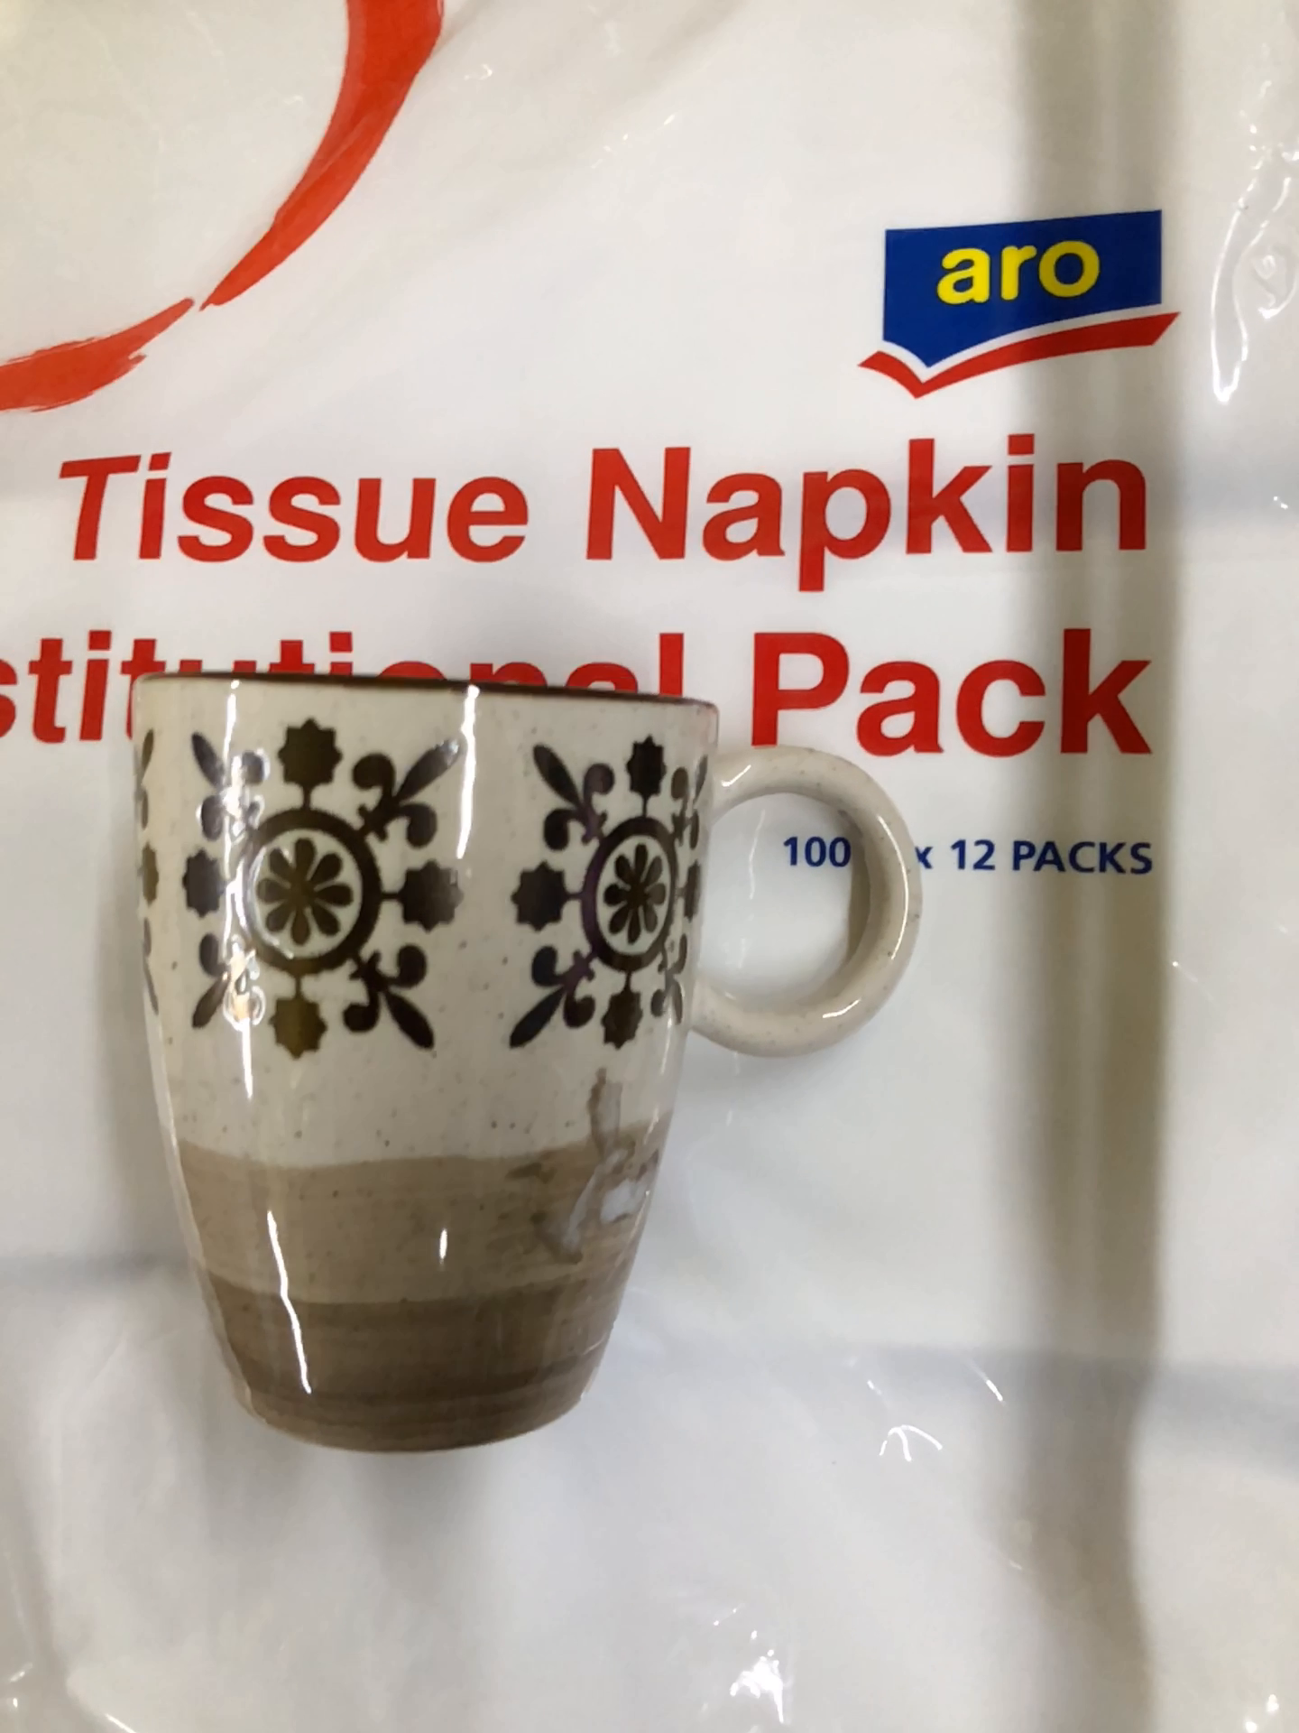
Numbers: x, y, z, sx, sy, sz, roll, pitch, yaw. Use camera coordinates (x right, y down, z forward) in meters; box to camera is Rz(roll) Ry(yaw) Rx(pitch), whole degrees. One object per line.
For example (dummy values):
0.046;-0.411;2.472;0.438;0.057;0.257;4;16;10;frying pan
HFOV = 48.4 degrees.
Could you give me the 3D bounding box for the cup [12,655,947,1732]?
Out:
-0.026;0.035;0.195;0.100;0.070;0.110;3;92;-20;cup
